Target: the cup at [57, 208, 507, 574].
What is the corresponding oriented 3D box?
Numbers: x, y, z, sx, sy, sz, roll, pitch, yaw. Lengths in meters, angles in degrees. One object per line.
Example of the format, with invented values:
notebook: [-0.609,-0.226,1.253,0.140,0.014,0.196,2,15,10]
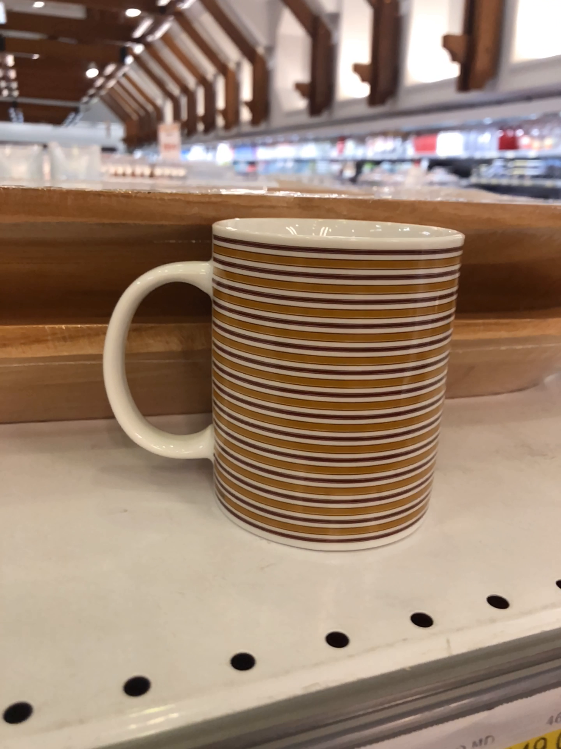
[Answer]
cup: [0.005,-0.007,0.217,0.120,0.090,0.090,6,17,13]
